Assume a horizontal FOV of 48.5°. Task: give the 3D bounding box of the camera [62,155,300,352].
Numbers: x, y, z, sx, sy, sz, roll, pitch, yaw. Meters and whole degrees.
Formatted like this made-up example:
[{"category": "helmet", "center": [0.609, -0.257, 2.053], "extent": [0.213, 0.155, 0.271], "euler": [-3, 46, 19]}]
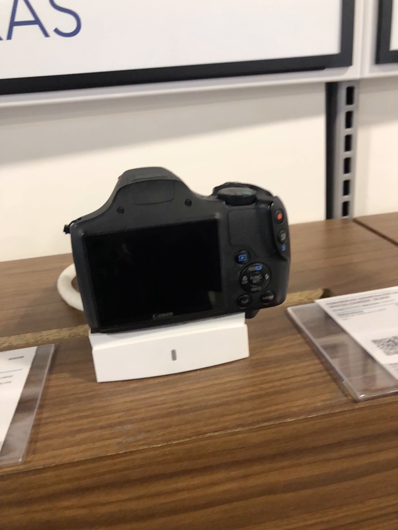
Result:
[{"category": "camera", "center": [-0.014, -0.017, 0.278], "extent": [0.120, 0.080, 0.102], "euler": [-9, 21, -11]}]
